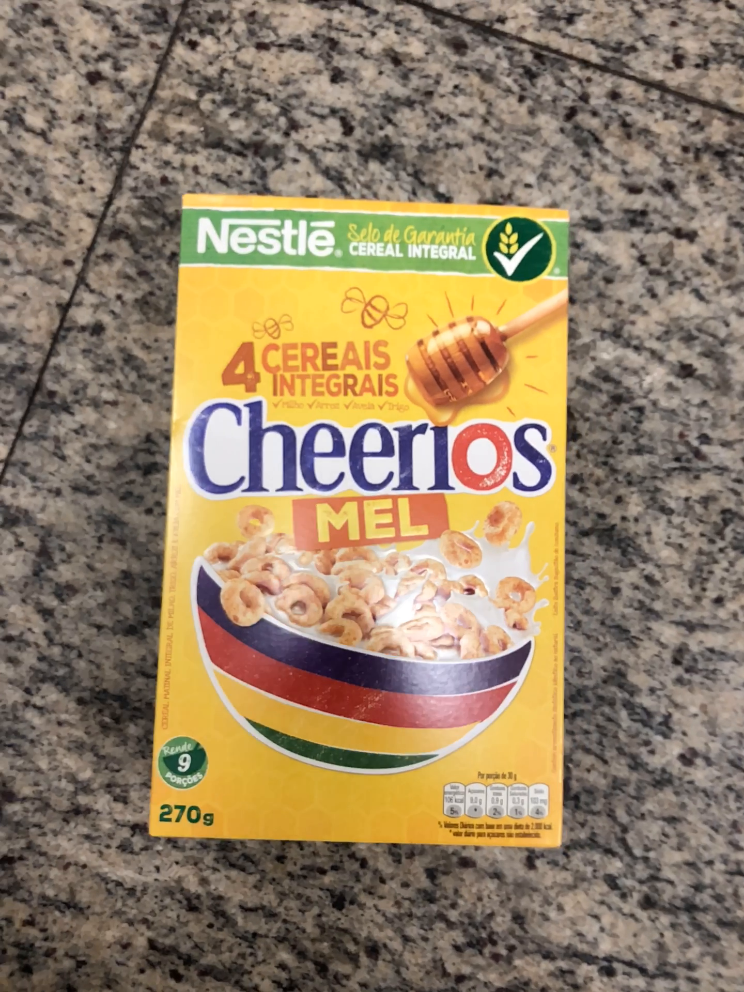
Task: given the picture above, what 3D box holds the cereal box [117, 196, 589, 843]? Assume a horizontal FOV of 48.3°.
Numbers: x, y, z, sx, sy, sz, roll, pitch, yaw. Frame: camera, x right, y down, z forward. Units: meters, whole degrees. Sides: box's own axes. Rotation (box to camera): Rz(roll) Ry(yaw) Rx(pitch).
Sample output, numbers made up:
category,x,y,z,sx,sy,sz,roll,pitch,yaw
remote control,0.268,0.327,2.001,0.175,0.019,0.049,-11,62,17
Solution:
category,x,y,z,sx,sy,sz,roll,pitch,yaw
cereal box,-0.005,0.008,0.341,0.170,0.060,0.240,1,84,-2
